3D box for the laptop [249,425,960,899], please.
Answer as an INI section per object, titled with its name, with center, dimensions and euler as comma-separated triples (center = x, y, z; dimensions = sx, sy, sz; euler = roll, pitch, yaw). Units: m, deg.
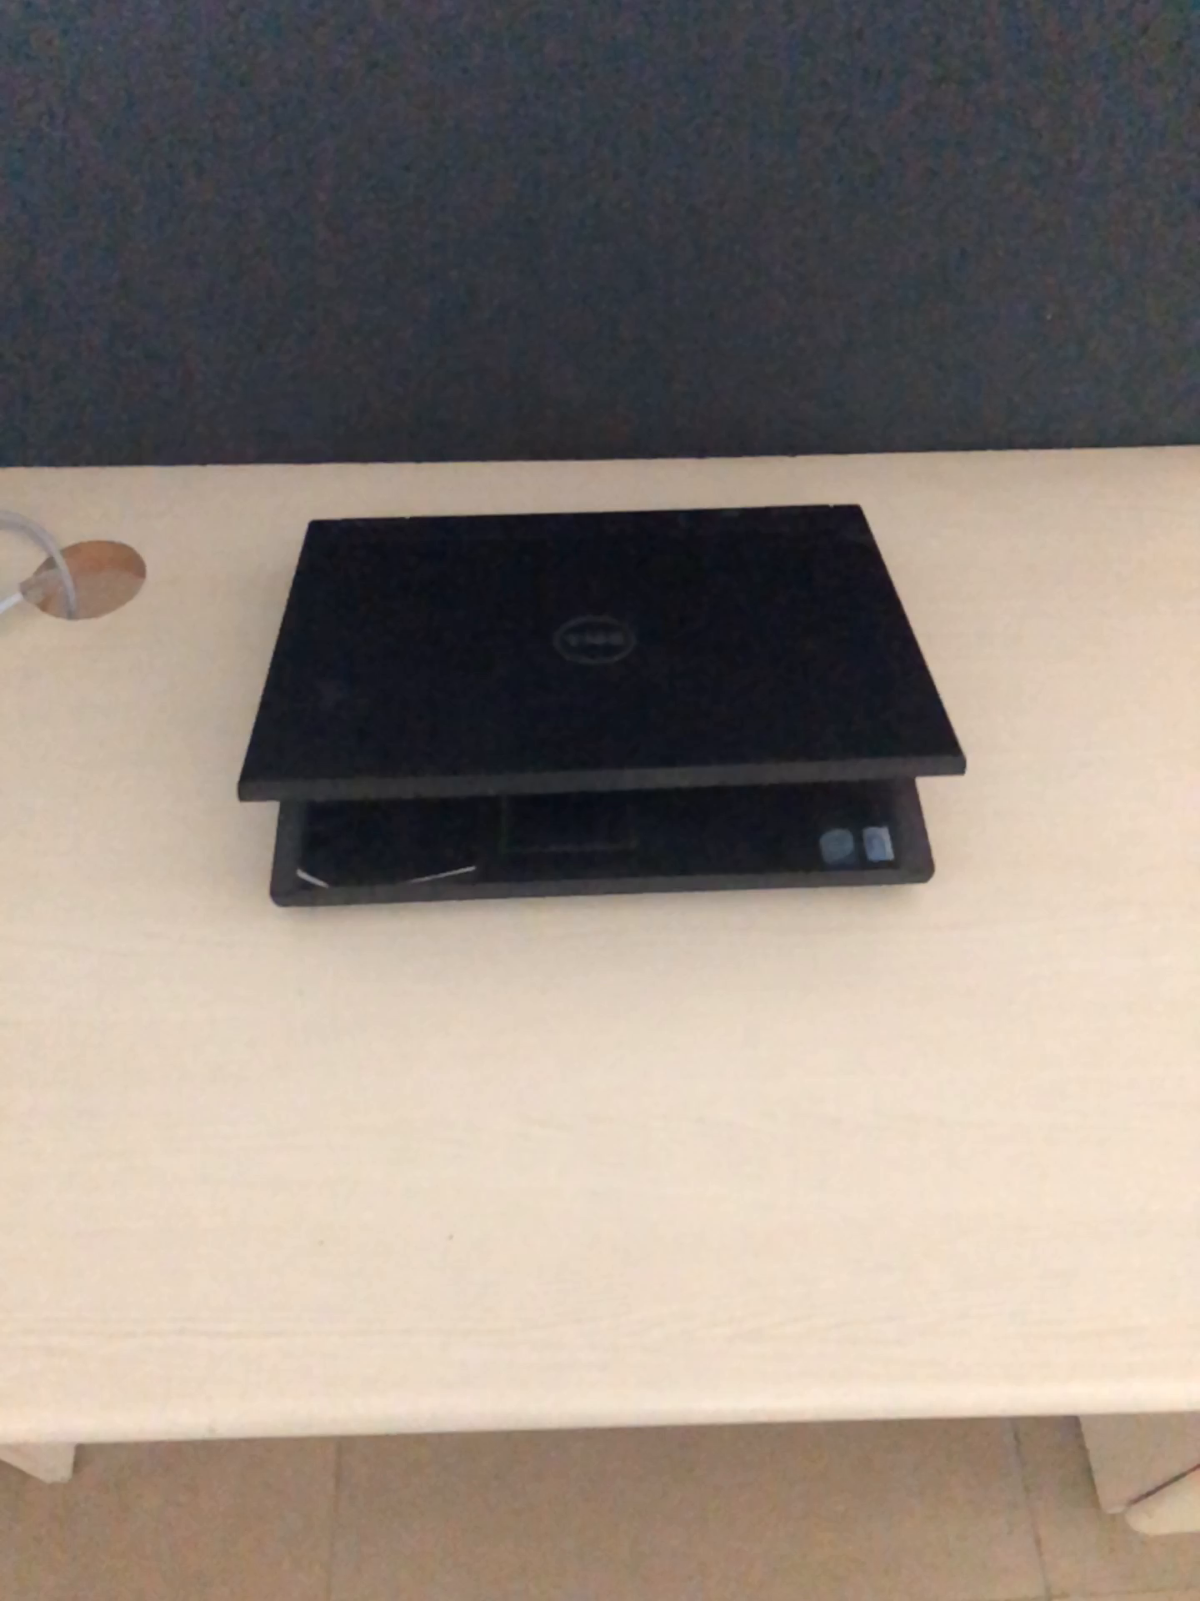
[laptop]
center = -0.001, -0.076, 0.653
dimensions = 0.302, 0.064, 0.231
euler = -2, 56, -1
